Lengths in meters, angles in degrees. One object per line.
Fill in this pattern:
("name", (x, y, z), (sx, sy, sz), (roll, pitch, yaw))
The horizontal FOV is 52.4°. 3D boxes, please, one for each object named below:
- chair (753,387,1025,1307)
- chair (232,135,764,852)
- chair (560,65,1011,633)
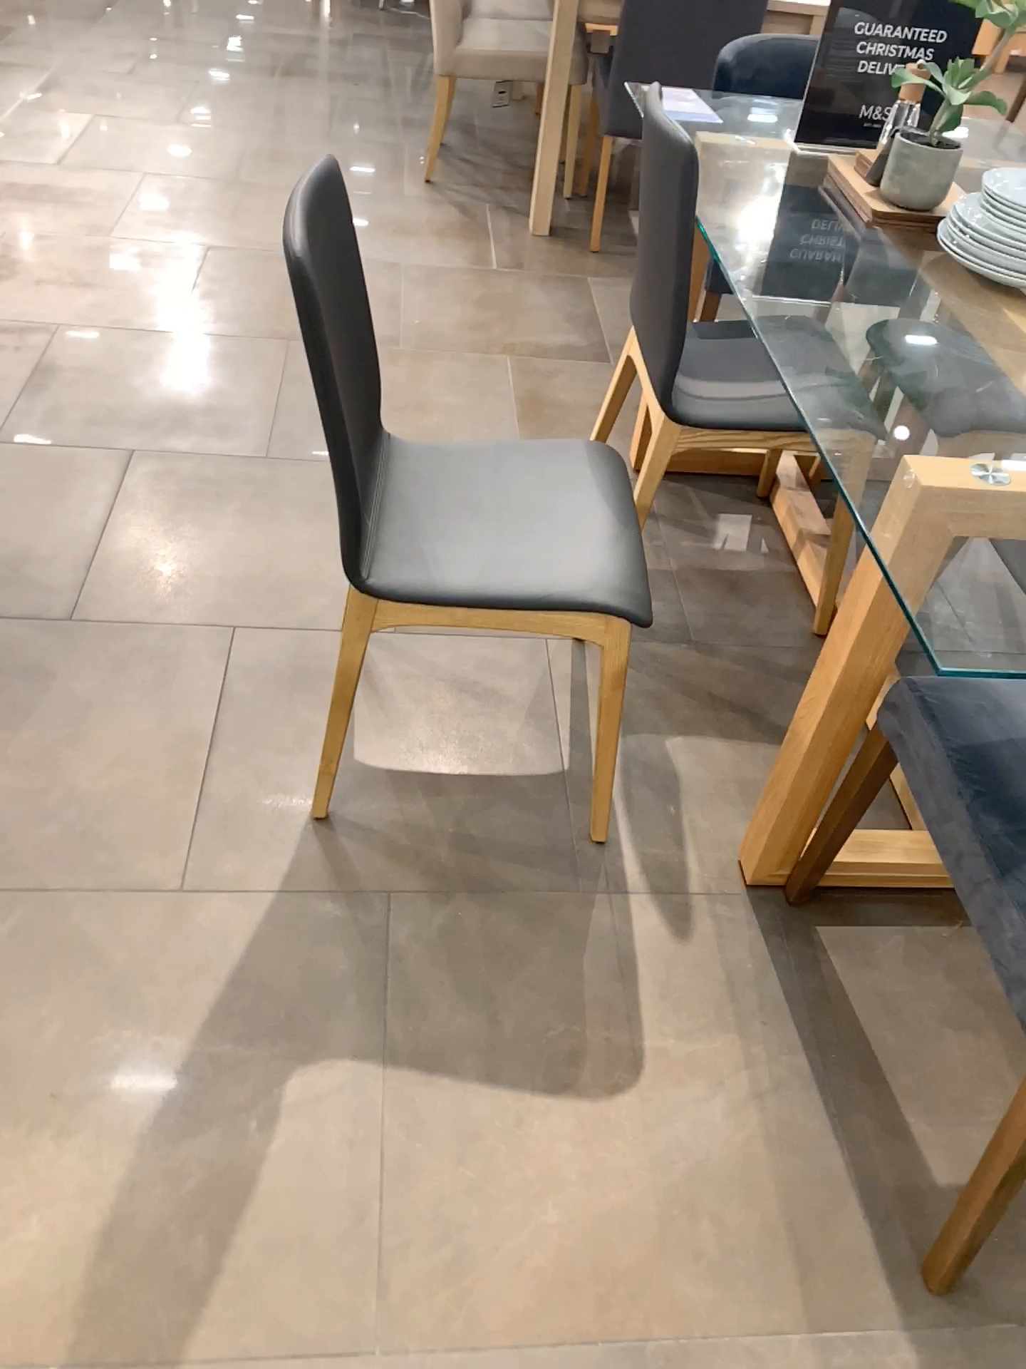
("chair", (0.718, 0.194, 1.162), (0.543, 0.813, 0.592), (-1, 43, -10))
("chair", (-0.055, -0.251, 1.528), (0.536, 0.813, 0.568), (4, 42, -5))
("chair", (0.414, -0.596, 1.950), (0.496, 0.833, 0.528), (2, 42, -7))
